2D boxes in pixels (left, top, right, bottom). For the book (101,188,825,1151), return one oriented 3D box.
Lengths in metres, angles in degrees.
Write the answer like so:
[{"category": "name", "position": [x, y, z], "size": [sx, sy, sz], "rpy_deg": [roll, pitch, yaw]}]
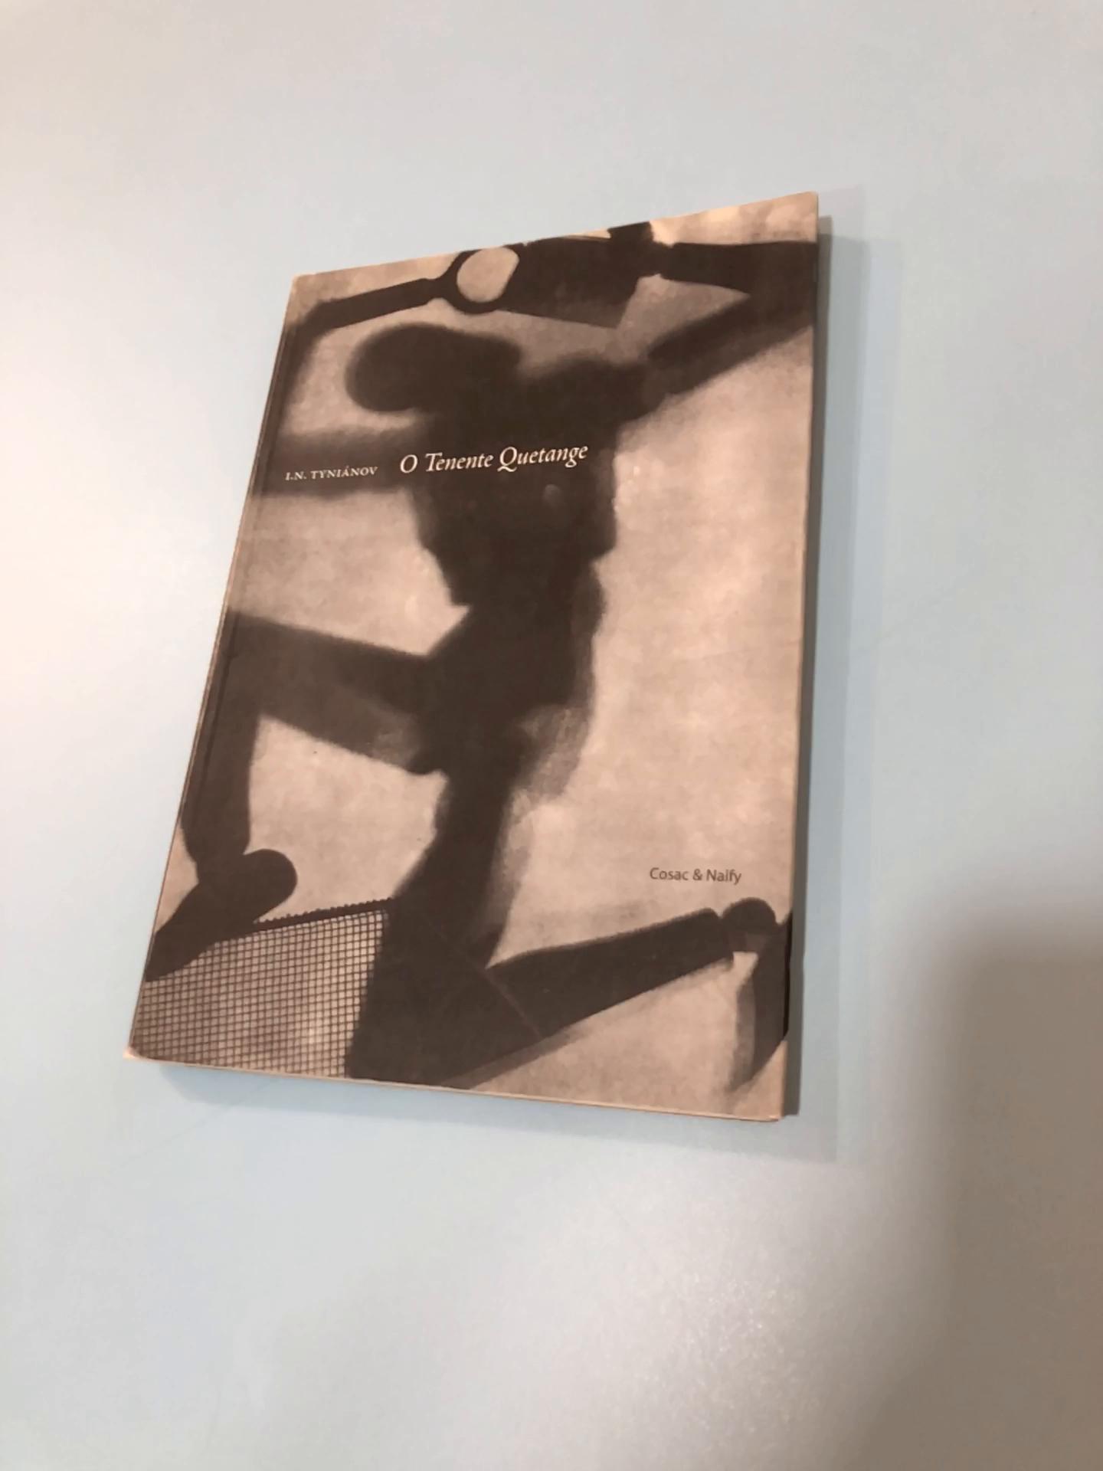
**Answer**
[{"category": "book", "position": [-0.014, -0.022, 0.263], "size": [0.134, 0.016, 0.197], "rpy_deg": [0, 71, 20]}]
